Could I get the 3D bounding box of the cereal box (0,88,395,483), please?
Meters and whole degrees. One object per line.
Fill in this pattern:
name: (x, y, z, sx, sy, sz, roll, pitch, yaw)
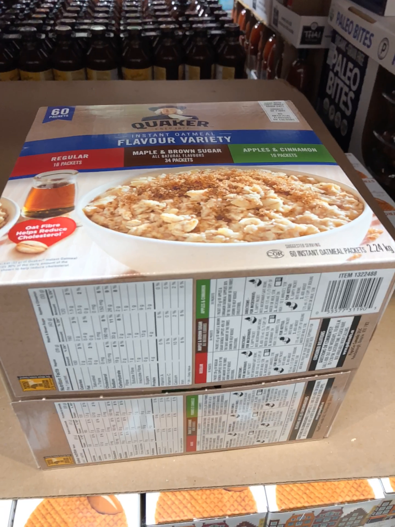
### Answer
cereal box: (-0.018, -0.003, 0.377, 0.240, 0.199, 0.261, -3, 40, -6)
